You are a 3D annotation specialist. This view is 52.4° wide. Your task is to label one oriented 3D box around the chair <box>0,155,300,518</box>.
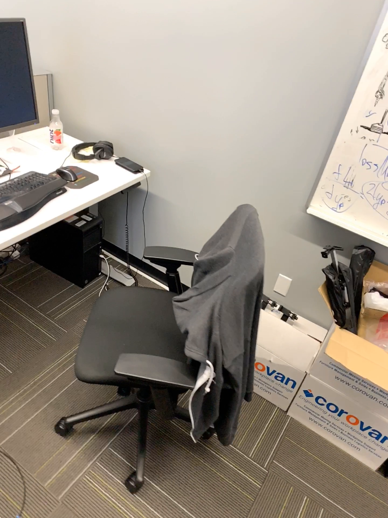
[{"bbox_3d":[-0.129,0.289,1.532,0.730,0.994,0.774,13,37,2],"label":"chair"}]
